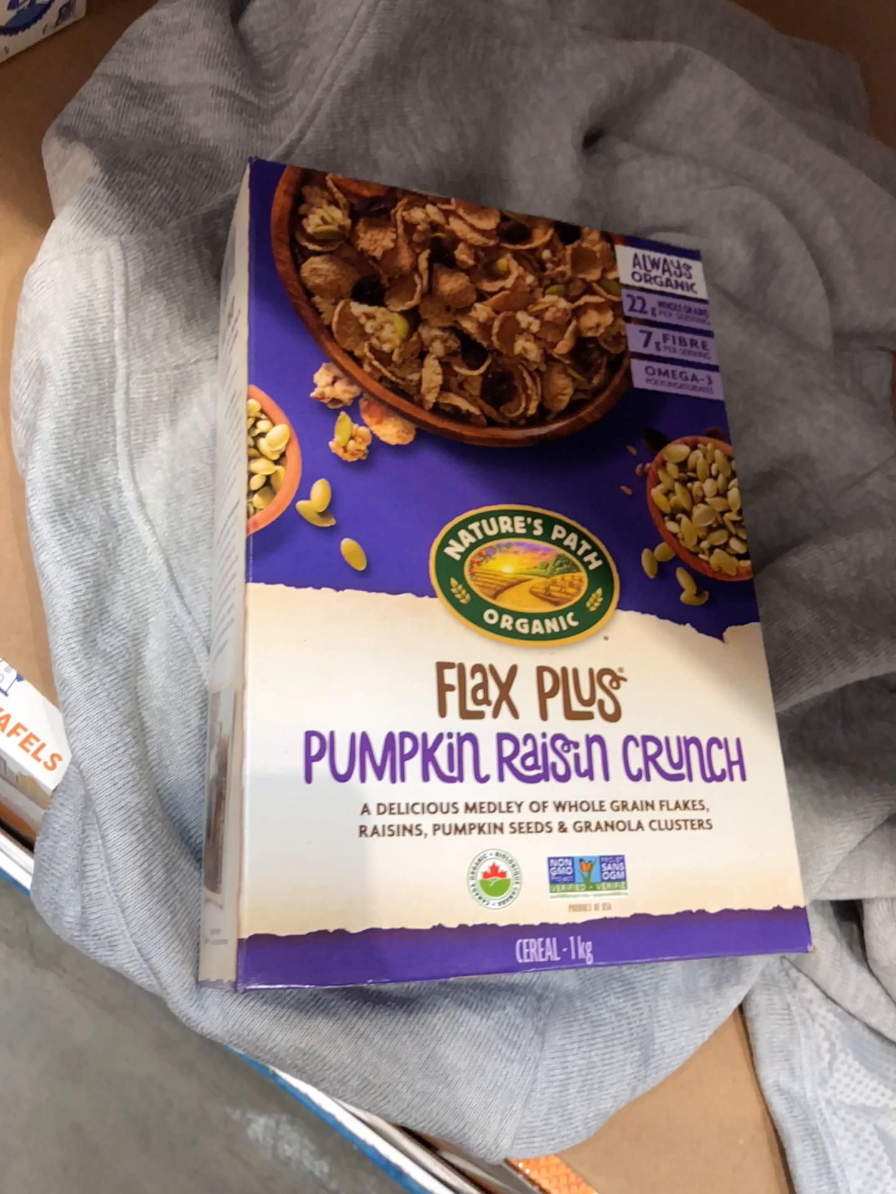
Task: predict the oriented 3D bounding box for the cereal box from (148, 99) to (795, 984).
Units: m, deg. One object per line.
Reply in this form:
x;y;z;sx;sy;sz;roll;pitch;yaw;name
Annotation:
-0.001;-0.019;0.401;0.210;0.090;0.310;4;70;-20;cereal box
